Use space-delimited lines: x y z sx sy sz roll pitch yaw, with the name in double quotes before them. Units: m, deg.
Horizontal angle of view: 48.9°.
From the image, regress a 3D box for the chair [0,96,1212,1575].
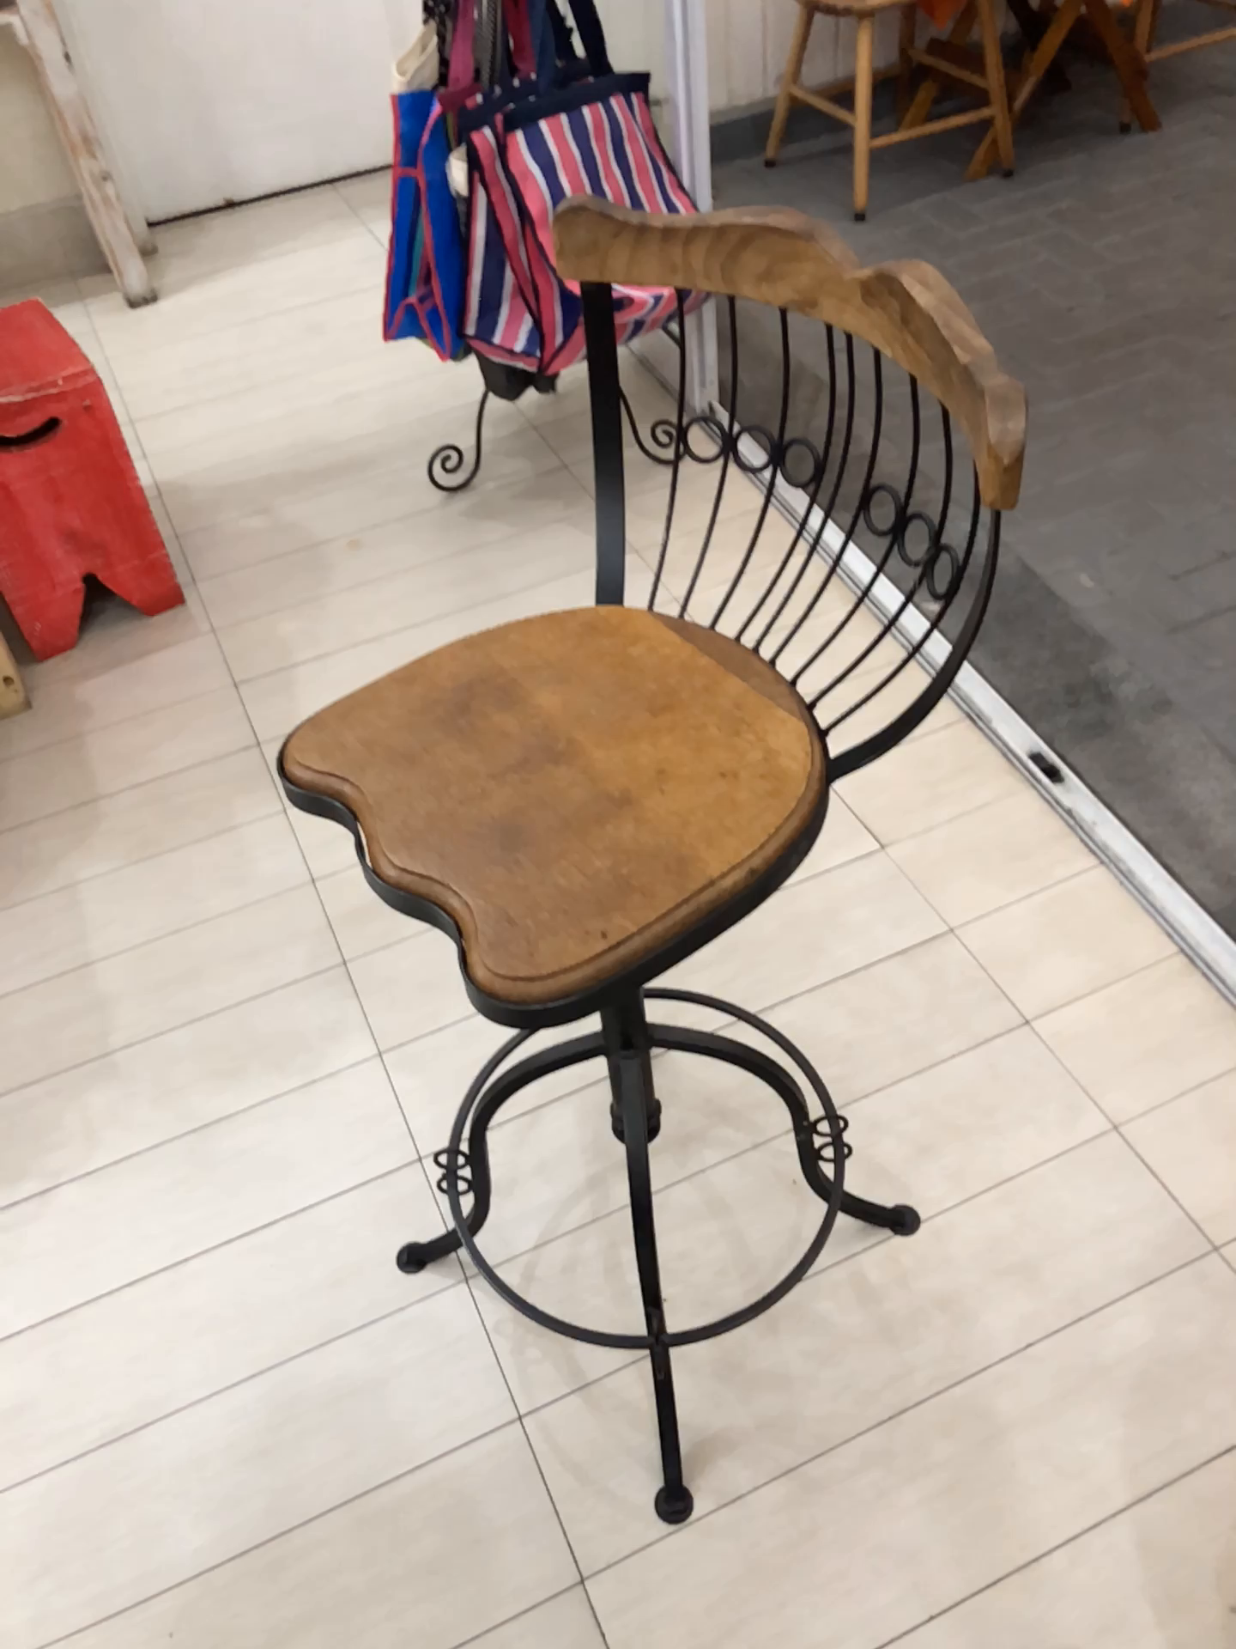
"chair" -0.001 0.055 1.010 0.471 0.894 0.462 -32 50 -22
